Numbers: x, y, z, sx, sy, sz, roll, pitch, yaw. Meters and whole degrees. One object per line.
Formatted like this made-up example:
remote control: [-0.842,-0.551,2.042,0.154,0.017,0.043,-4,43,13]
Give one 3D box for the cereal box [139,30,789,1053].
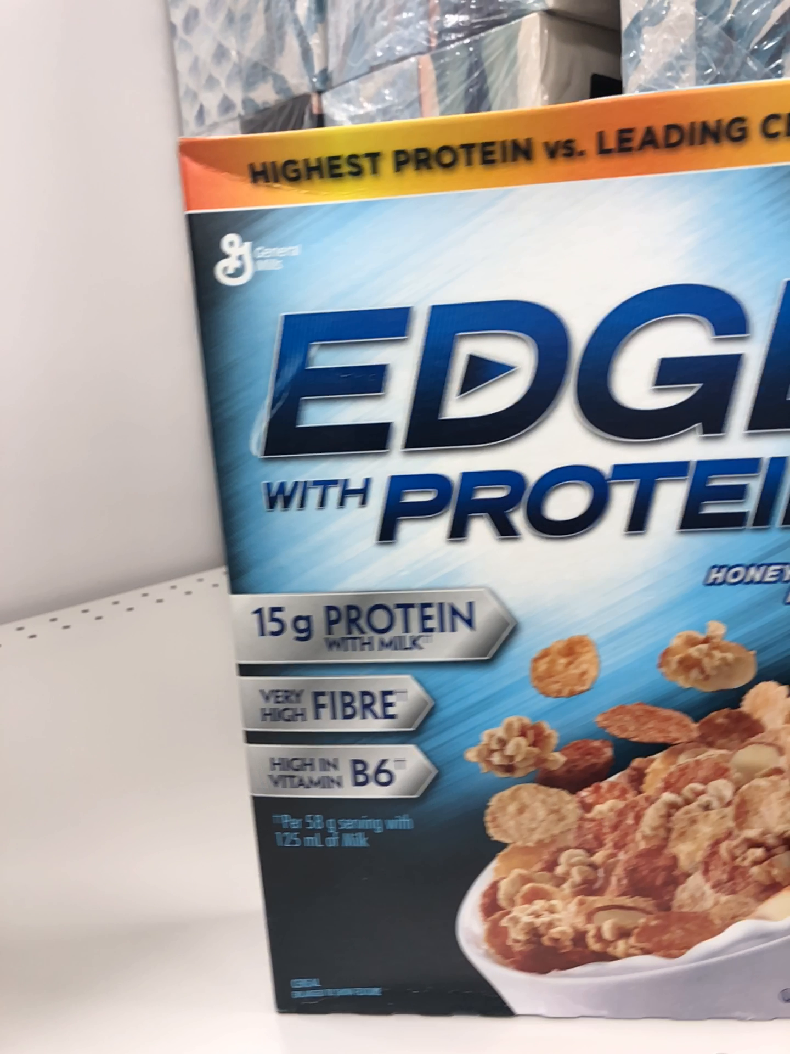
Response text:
cereal box: [0.048,0.021,0.267,0.200,0.279,0.050,-3,13,6]
